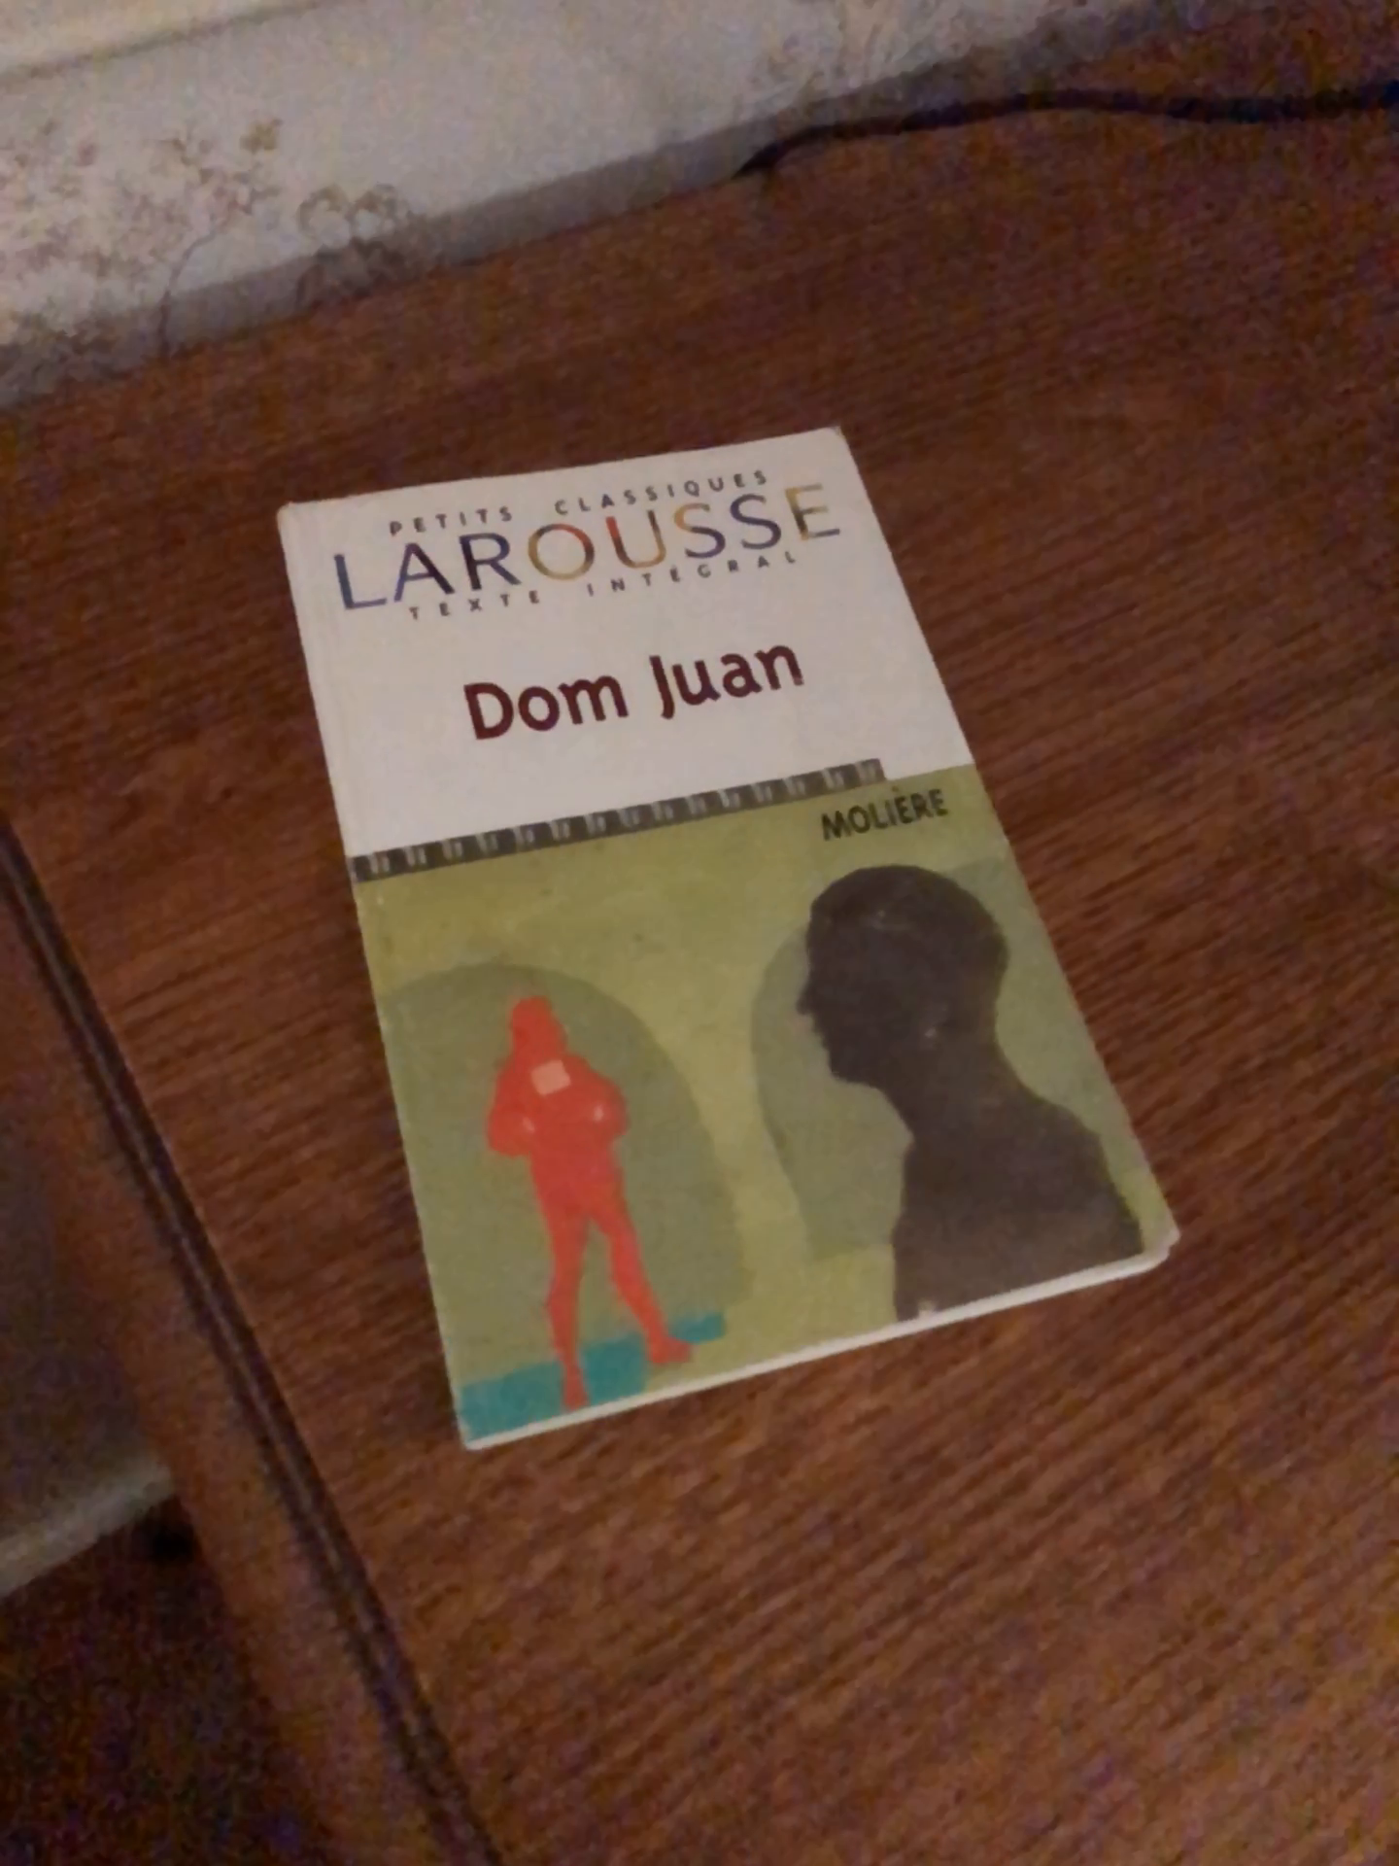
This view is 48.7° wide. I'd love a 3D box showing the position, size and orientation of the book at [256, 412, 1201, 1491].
[{"bbox_3d":[-0.003,-0.013,0.264,0.115,0.010,0.180,-11,65,-12],"label":"book"}]
